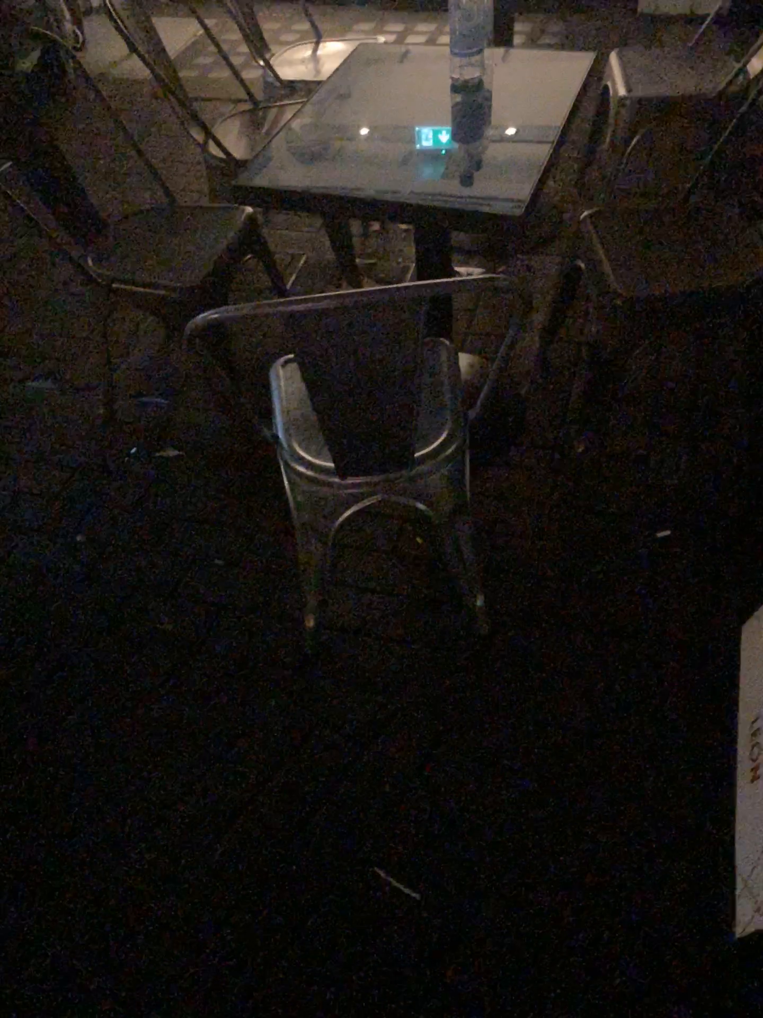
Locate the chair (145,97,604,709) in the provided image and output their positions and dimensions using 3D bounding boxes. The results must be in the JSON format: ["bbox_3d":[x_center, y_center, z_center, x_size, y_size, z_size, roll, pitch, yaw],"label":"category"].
[{"bbox_3d":[-0.029,-0.159,1.302,0.500,0.723,0.606,-11,48,-4],"label":"chair"}]
